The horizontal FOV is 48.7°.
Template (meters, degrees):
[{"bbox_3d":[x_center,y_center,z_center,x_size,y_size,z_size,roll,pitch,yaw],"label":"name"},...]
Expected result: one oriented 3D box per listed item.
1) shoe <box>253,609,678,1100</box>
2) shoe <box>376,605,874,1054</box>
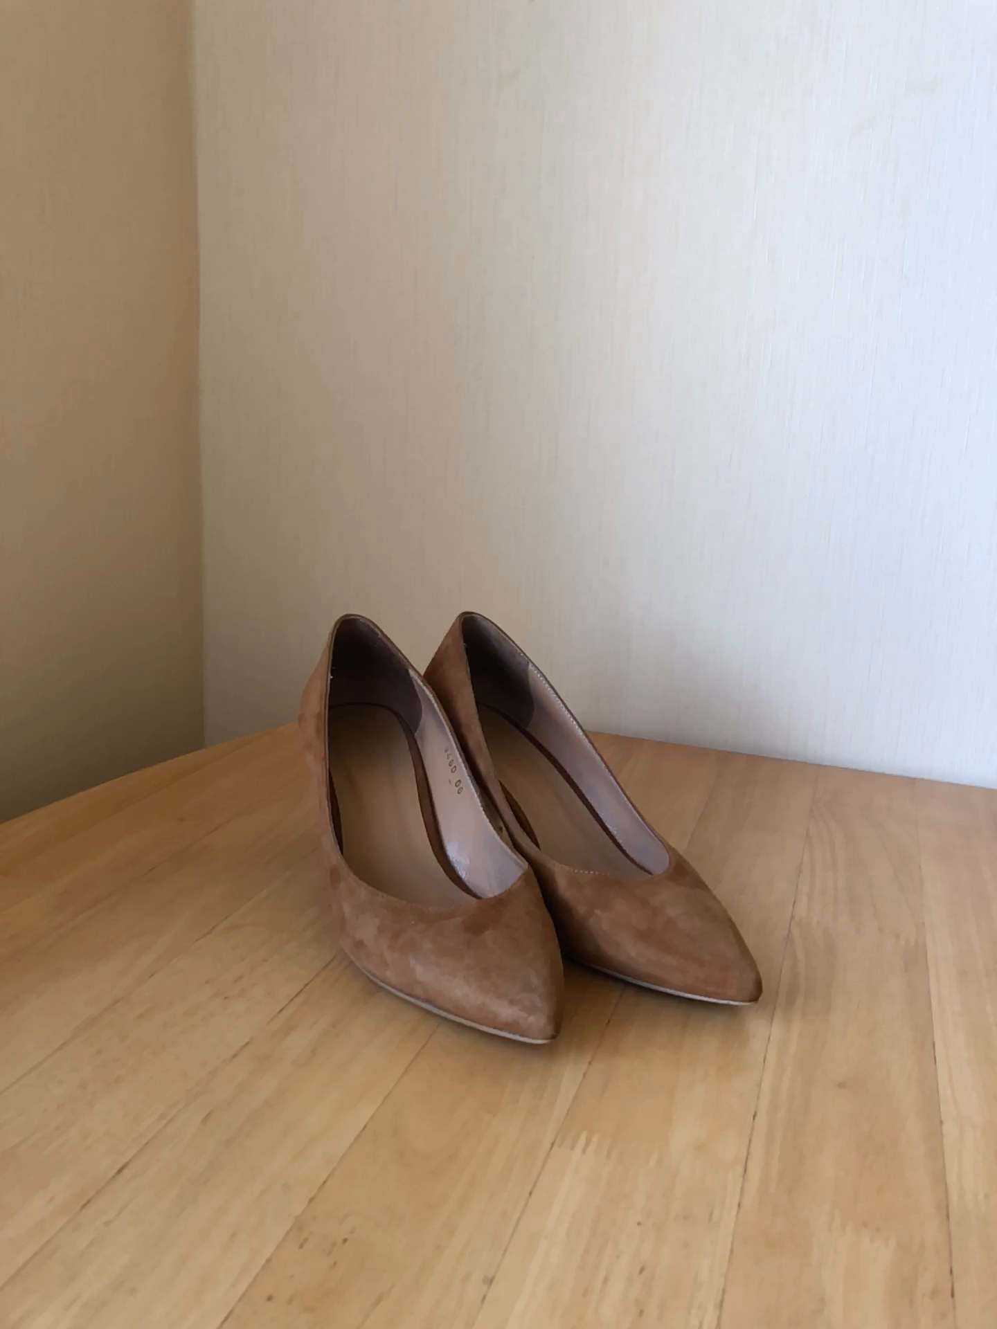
[{"bbox_3d":[-0.034,0.056,0.476,0.089,0.110,0.251,-4,15,-24],"label":"shoe"},{"bbox_3d":[0.037,0.053,0.517,0.089,0.110,0.261,-6,16,-29],"label":"shoe"}]
